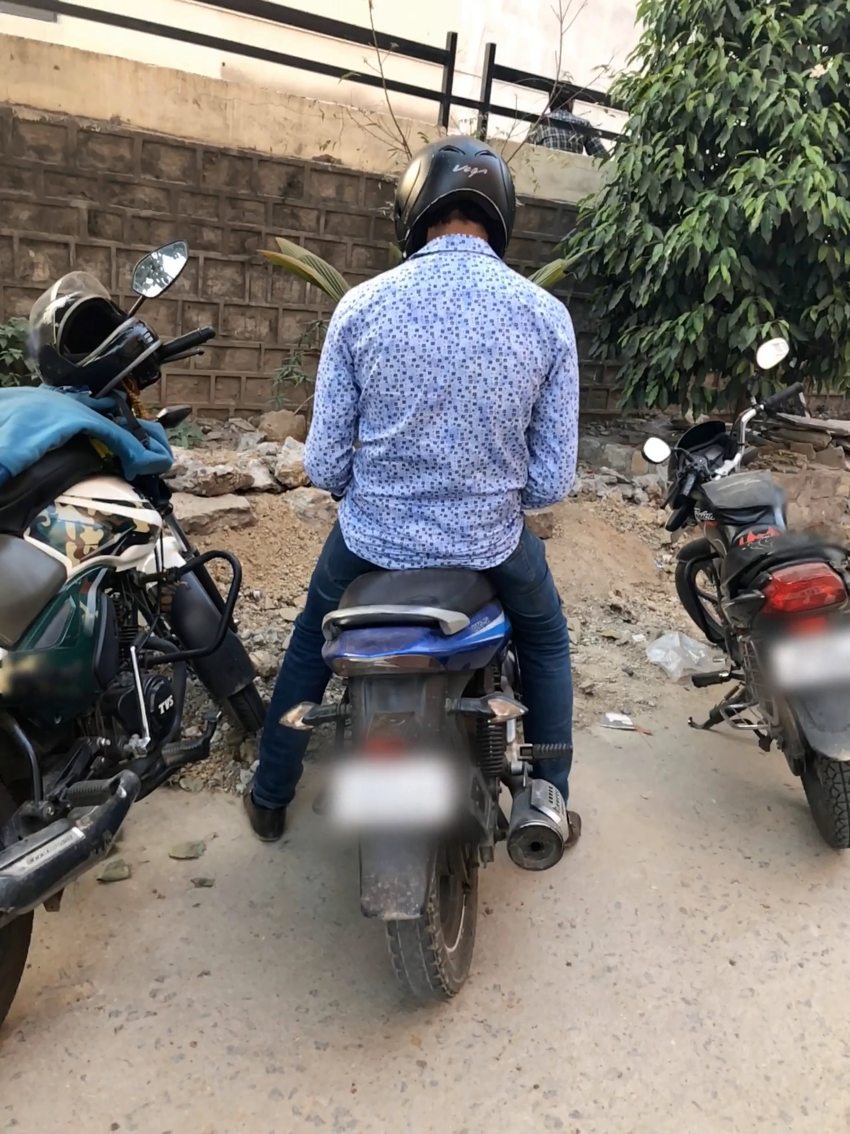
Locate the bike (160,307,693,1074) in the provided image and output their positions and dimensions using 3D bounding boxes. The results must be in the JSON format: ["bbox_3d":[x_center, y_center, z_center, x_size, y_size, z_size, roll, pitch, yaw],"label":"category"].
[{"bbox_3d":[0.017,0.050,2.235,0.753,1.077,1.584,7,20,3],"label":"bike"}]
